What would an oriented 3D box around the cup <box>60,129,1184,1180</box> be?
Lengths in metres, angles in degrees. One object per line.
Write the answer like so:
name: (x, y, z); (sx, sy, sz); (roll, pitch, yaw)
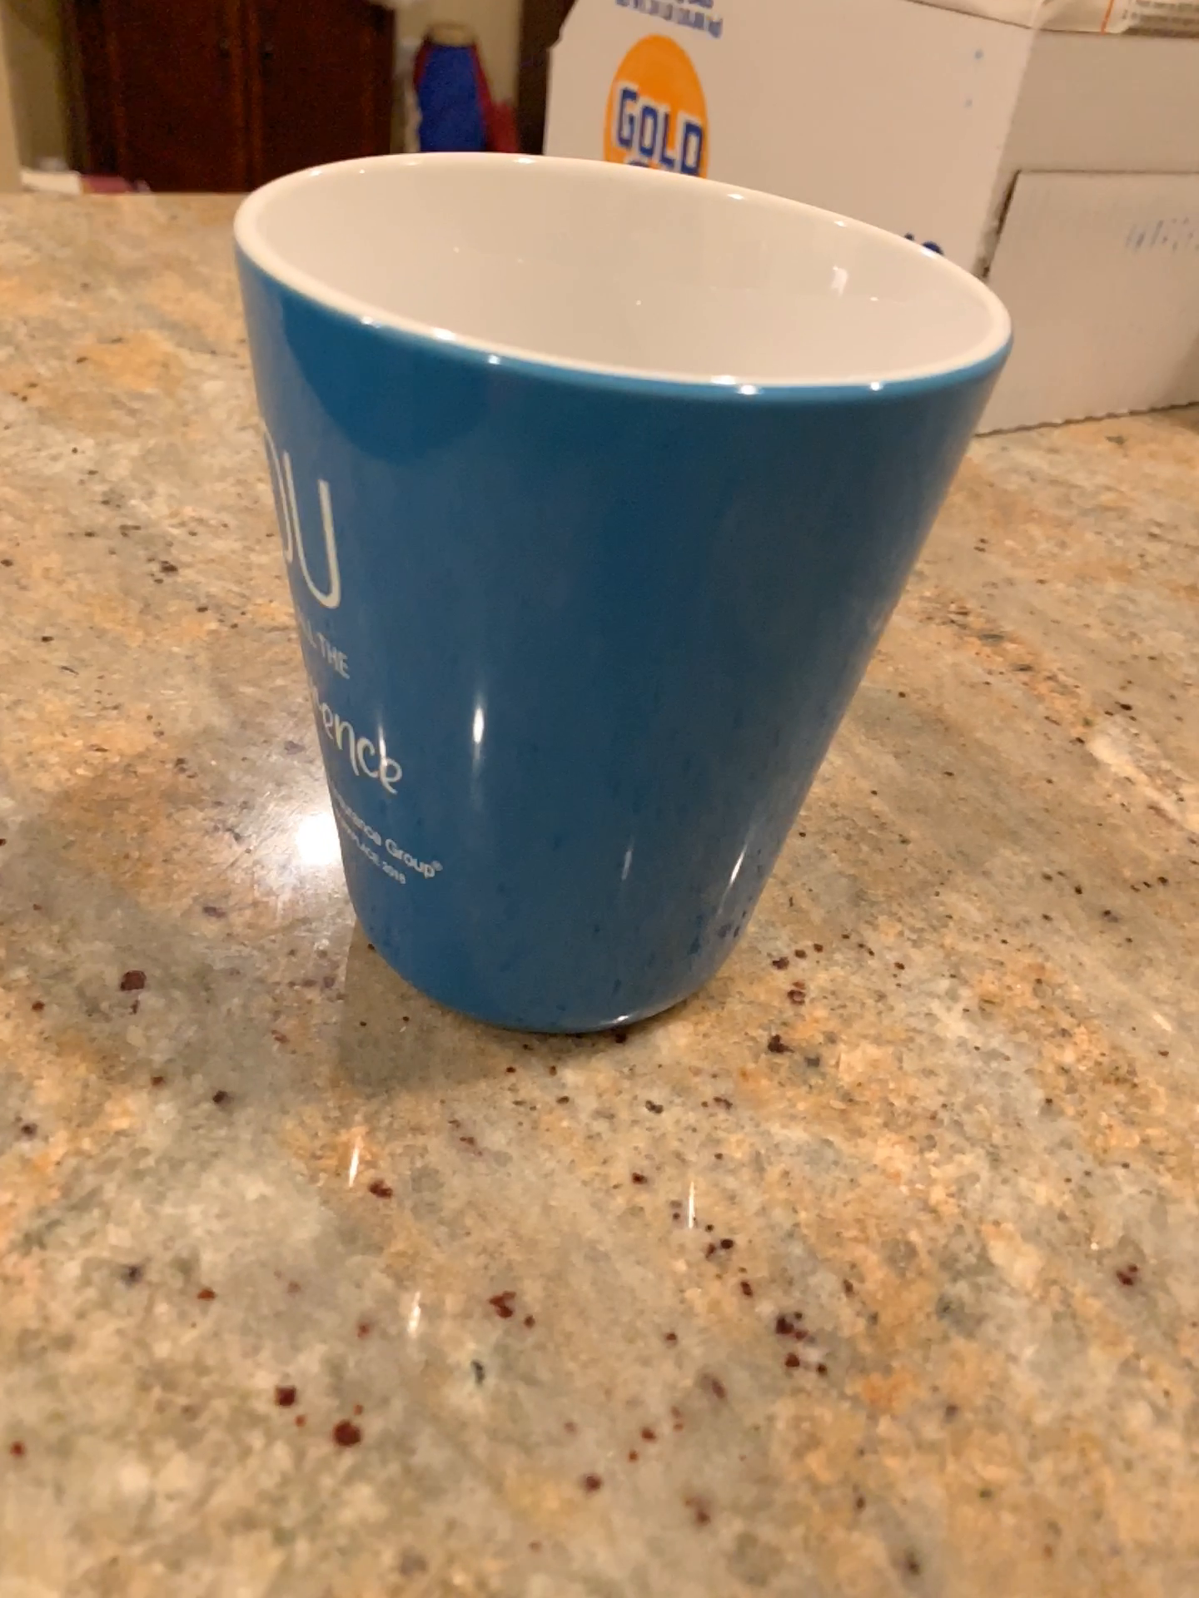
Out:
cup: (-0.012, -0.040, 0.201); (0.099, 0.098, 0.138); (-15, 41, -28)
